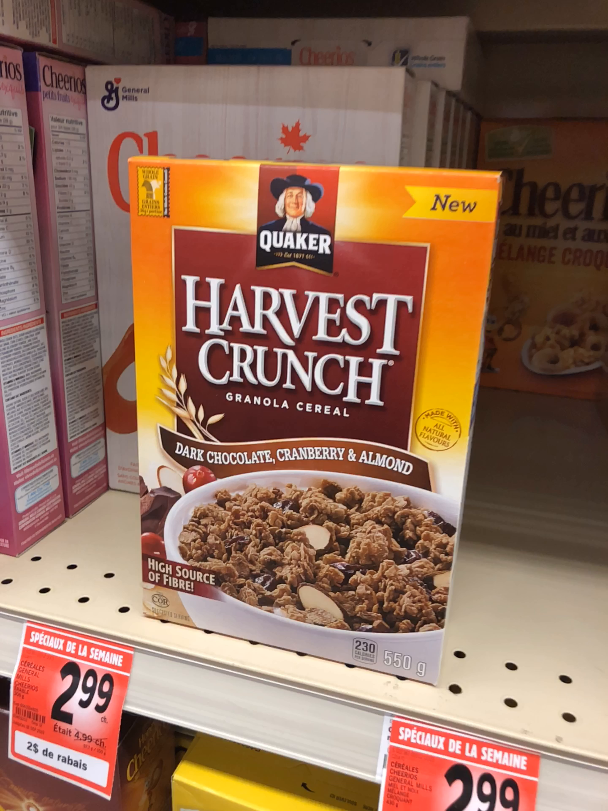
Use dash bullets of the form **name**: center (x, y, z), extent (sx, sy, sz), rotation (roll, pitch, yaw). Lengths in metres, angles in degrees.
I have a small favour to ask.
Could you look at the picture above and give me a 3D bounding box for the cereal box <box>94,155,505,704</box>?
- **cereal box**: center (-0.005, 0.007, 0.332), extent (0.170, 0.239, 0.060), rotation (8, 19, 16)
